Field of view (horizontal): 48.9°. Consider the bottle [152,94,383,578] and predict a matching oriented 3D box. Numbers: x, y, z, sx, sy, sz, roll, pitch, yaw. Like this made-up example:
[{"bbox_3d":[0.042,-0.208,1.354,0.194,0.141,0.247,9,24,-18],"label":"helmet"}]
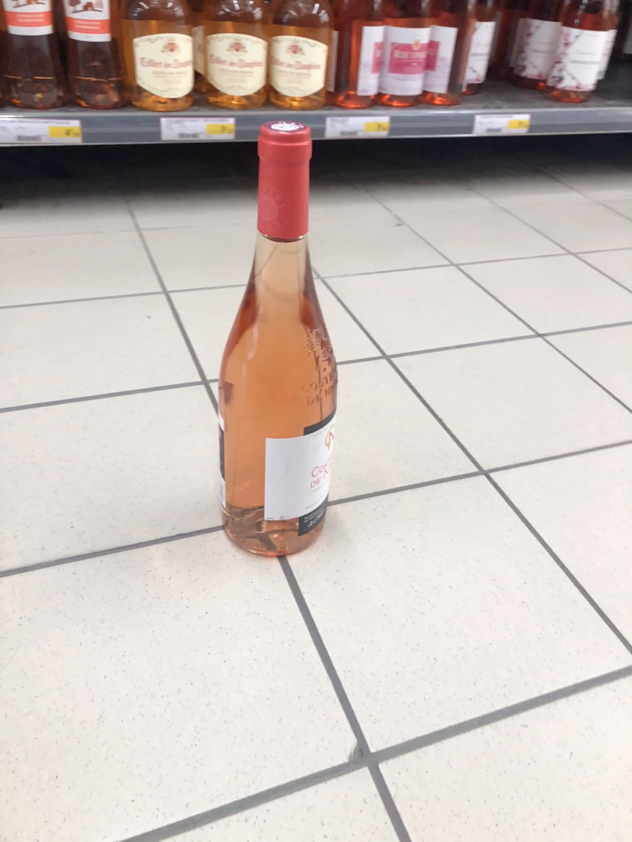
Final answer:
[{"bbox_3d":[-0.031,-0.042,0.440,0.090,0.278,0.091,3,35,-2],"label":"bottle"}]
